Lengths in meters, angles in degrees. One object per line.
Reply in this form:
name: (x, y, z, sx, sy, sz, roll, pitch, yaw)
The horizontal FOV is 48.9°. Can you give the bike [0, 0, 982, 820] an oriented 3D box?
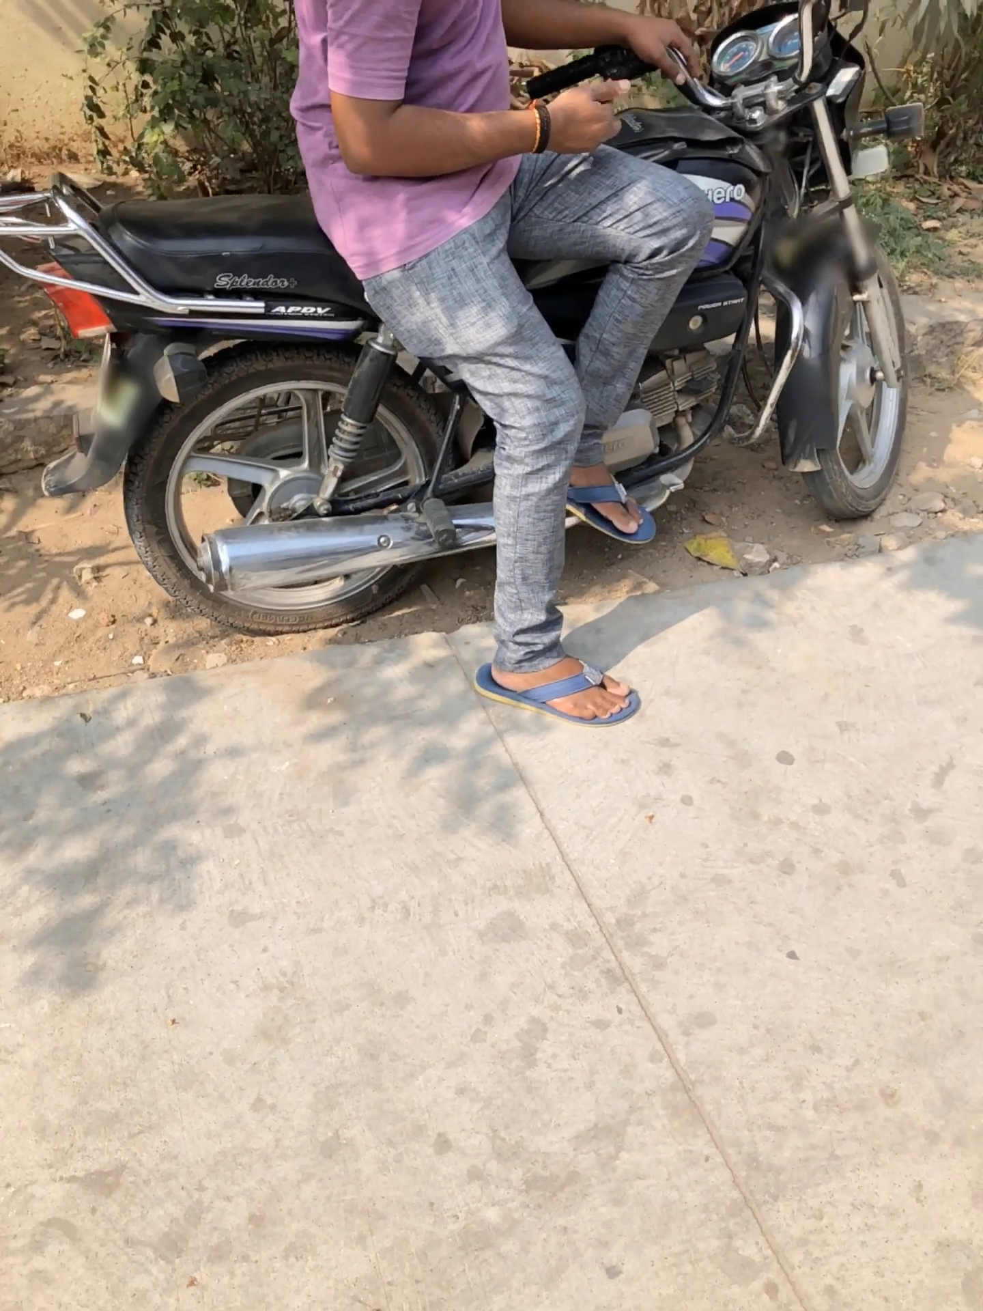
bike: (0.125, -0.732, 2.120, 1.763, 1.294, 0.773, -20, 46, -16)
